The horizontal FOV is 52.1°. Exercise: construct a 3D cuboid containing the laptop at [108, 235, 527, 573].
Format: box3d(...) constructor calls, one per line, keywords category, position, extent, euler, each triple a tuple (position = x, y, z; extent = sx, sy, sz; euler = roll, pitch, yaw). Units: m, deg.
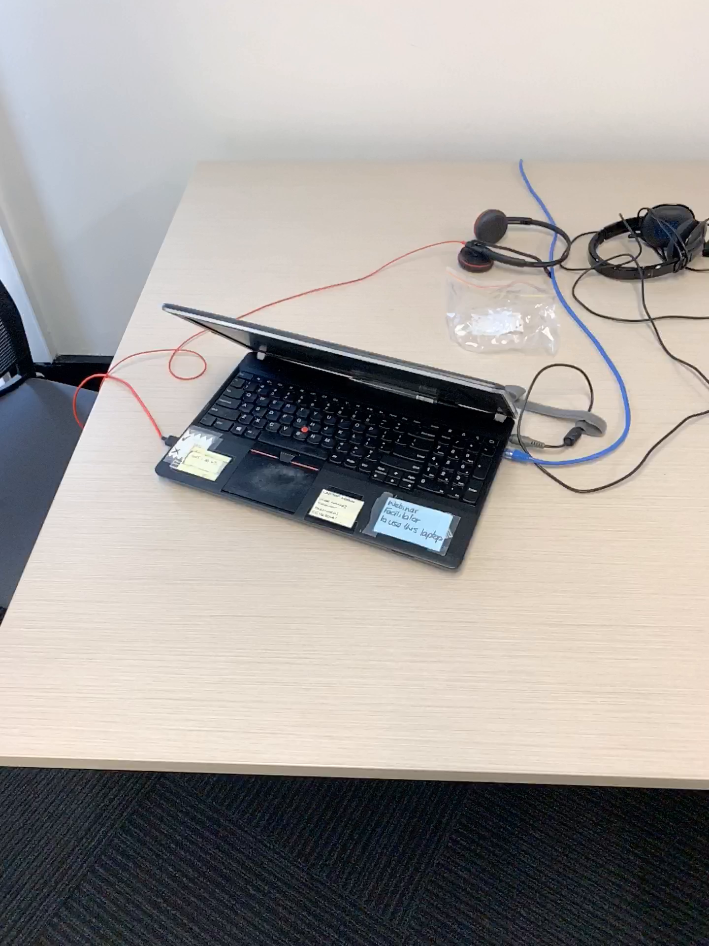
box3d(category="laptop", position=(-0.022, -0.084, 0.708), extent=(0.326, 0.157, 0.227), euler=(16, 46, 17))
